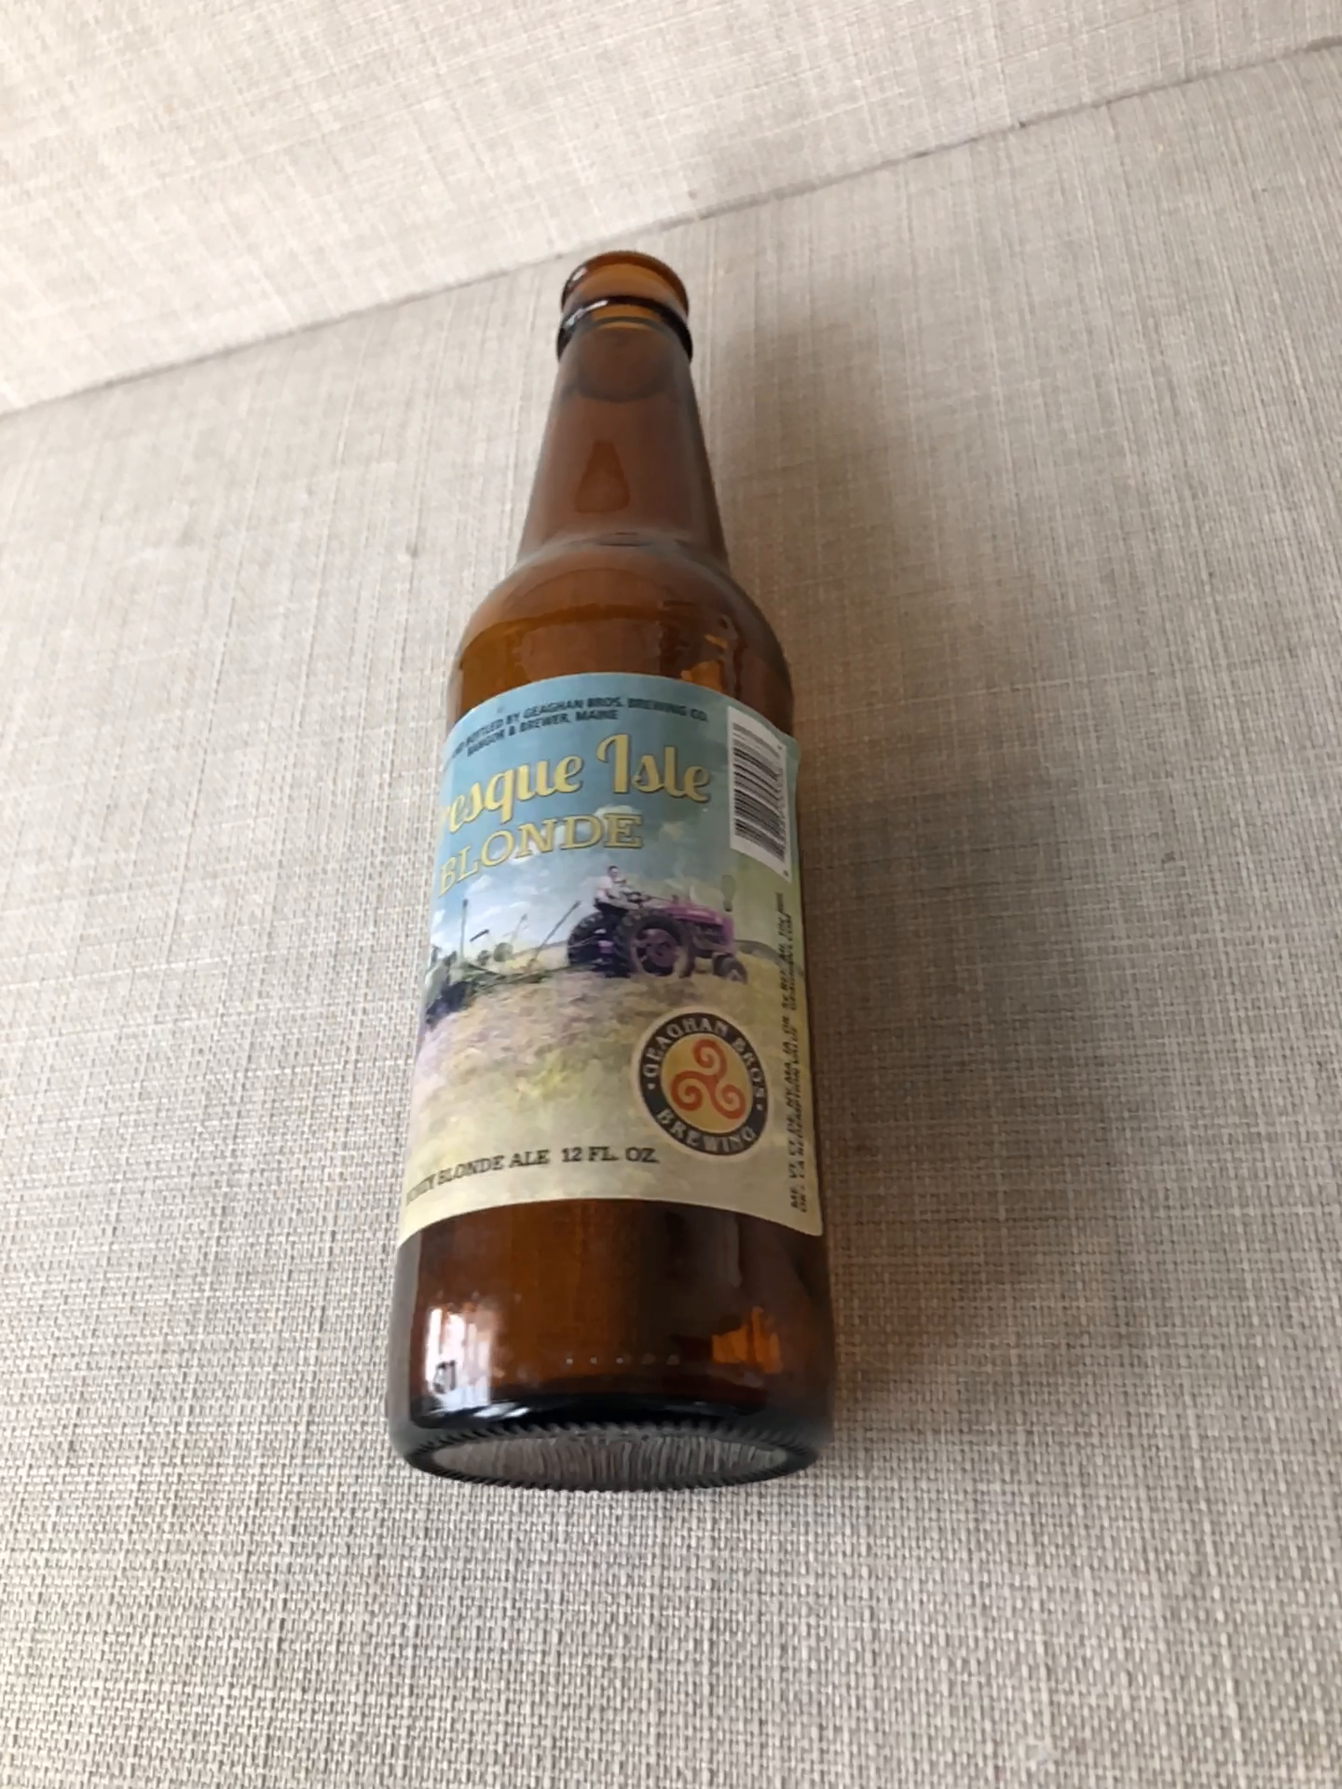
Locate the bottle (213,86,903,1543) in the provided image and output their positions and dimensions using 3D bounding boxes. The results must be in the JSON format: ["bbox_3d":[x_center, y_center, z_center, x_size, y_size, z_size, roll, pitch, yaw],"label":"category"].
[{"bbox_3d":[-0.012,-0.023,0.247,0.066,0.060,0.231,-16,57,26],"label":"bottle"}]
